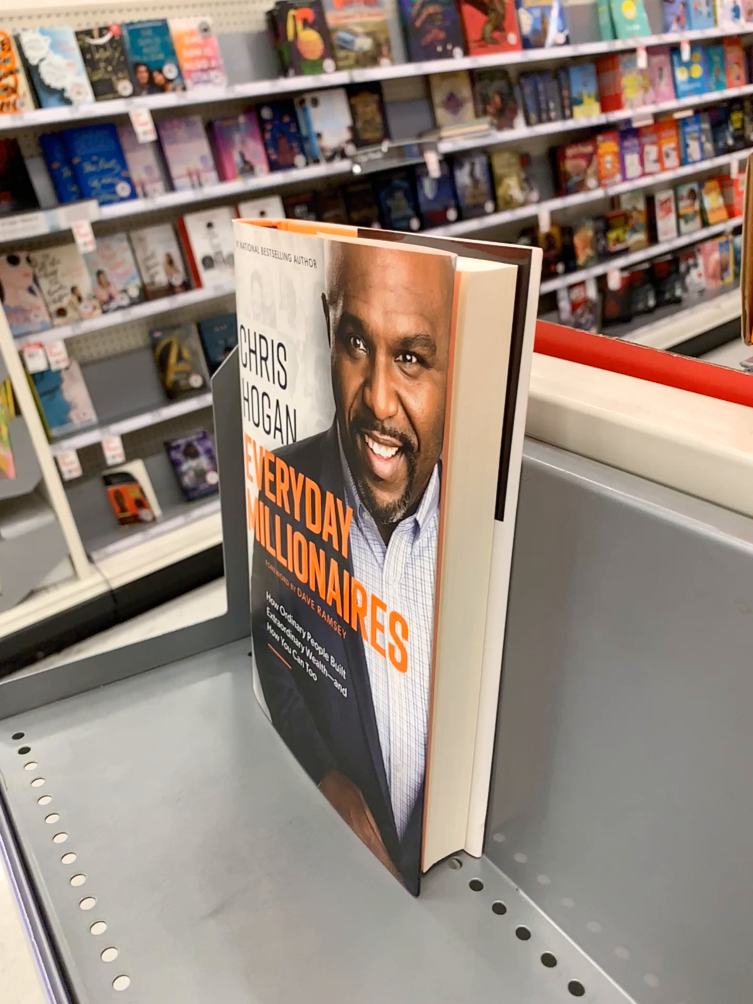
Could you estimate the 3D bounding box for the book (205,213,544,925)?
[{"bbox_3d":[-0.015,0.016,0.317,0.037,0.241,0.161,-13,27,-30],"label":"book"}]
